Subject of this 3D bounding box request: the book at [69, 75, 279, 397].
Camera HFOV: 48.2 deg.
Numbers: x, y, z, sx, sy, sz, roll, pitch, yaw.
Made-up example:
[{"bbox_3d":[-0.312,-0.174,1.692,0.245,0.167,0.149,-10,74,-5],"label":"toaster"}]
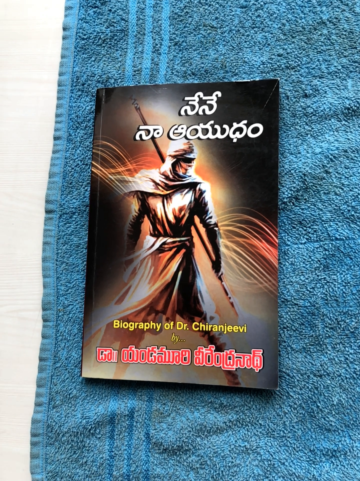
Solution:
[{"bbox_3d":[-0.001,-0.008,0.296,0.140,0.030,0.220,1,83,6],"label":"book"}]
